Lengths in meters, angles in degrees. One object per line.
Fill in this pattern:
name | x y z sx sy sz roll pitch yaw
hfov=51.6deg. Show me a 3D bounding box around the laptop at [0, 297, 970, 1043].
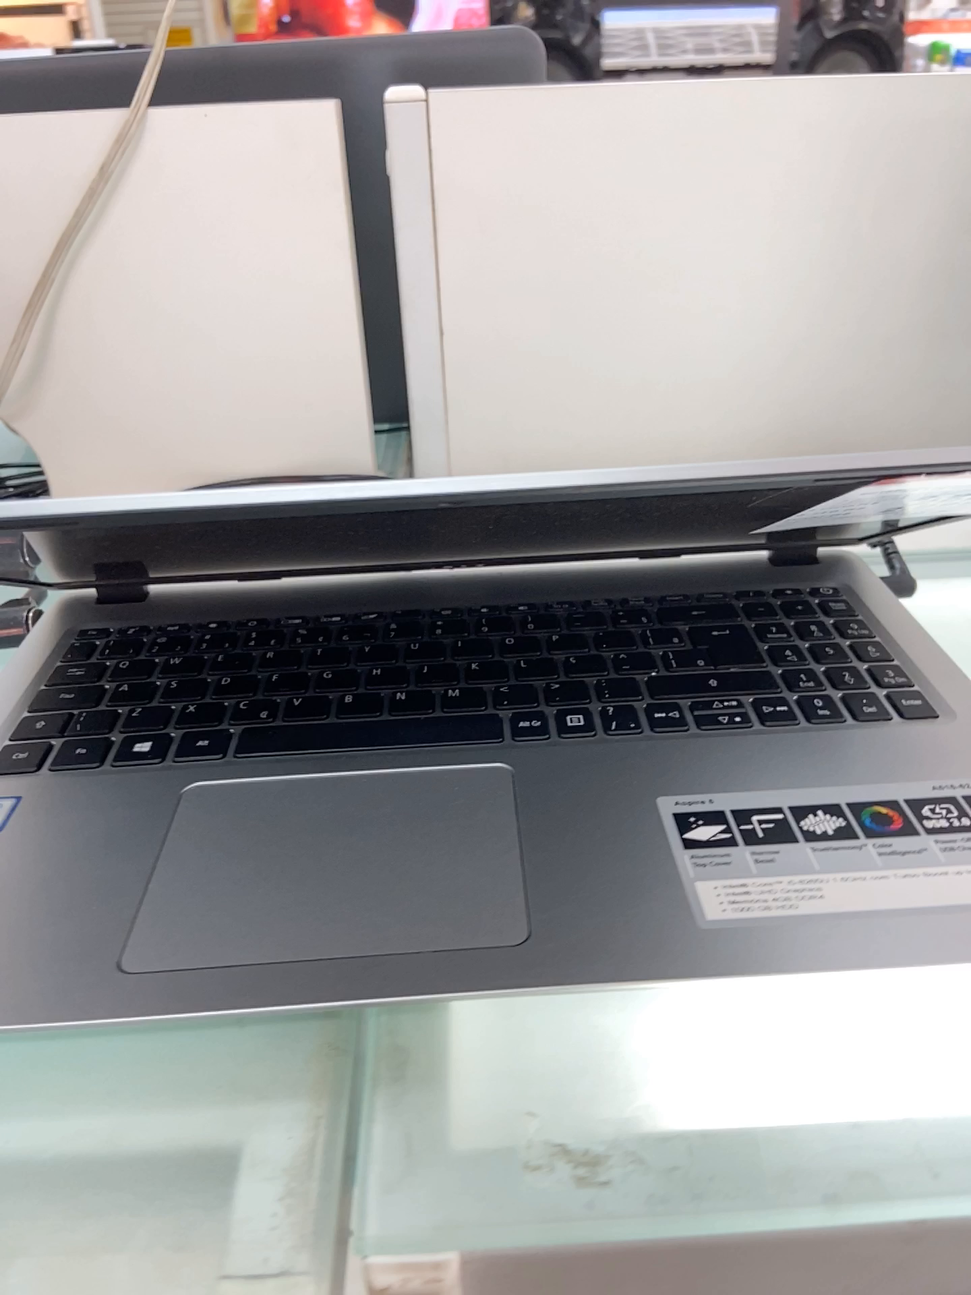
laptop | -0.009 -0.026 0.330 0.364 0.116 0.246 -3 28 -2
